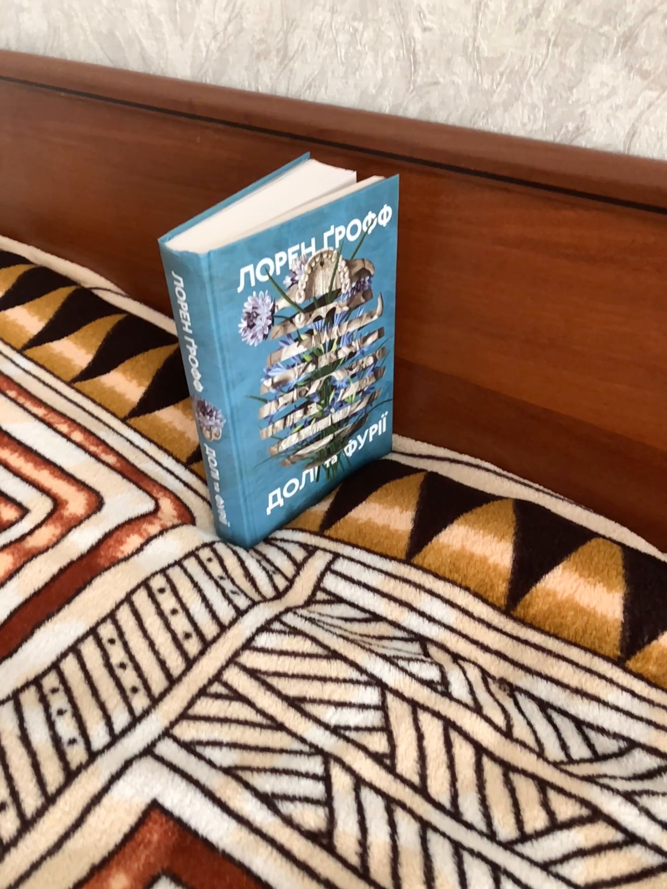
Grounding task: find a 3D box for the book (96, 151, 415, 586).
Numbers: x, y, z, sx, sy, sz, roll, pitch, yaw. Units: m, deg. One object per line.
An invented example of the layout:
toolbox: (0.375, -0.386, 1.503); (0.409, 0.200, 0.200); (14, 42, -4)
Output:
book: (-0.034, -0.047, 0.446); (0.078, 0.199, 0.161); (26, 47, 28)
